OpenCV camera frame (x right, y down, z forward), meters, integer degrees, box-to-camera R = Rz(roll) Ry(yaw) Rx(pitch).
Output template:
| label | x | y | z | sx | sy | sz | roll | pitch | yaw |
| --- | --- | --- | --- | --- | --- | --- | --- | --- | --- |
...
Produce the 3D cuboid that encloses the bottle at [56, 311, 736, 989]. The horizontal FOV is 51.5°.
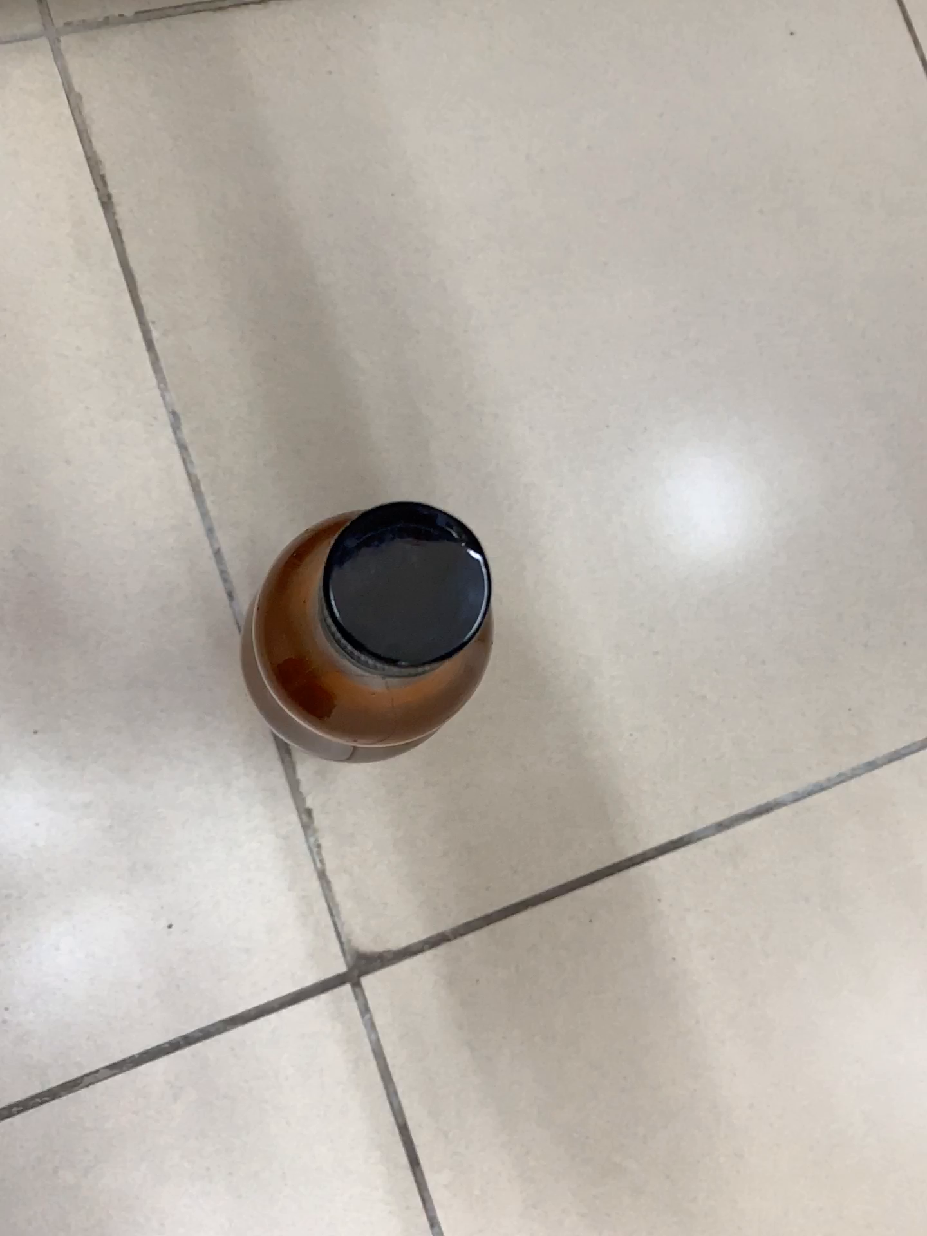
| label | x | y | z | sx | sy | sz | roll | pitch | yaw |
| --- | --- | --- | --- | --- | --- | --- | --- | --- | --- |
| bottle | -0.026 | 0.016 | 0.259 | 0.080 | 0.210 | 0.080 | 1 | 82 | -10 |
